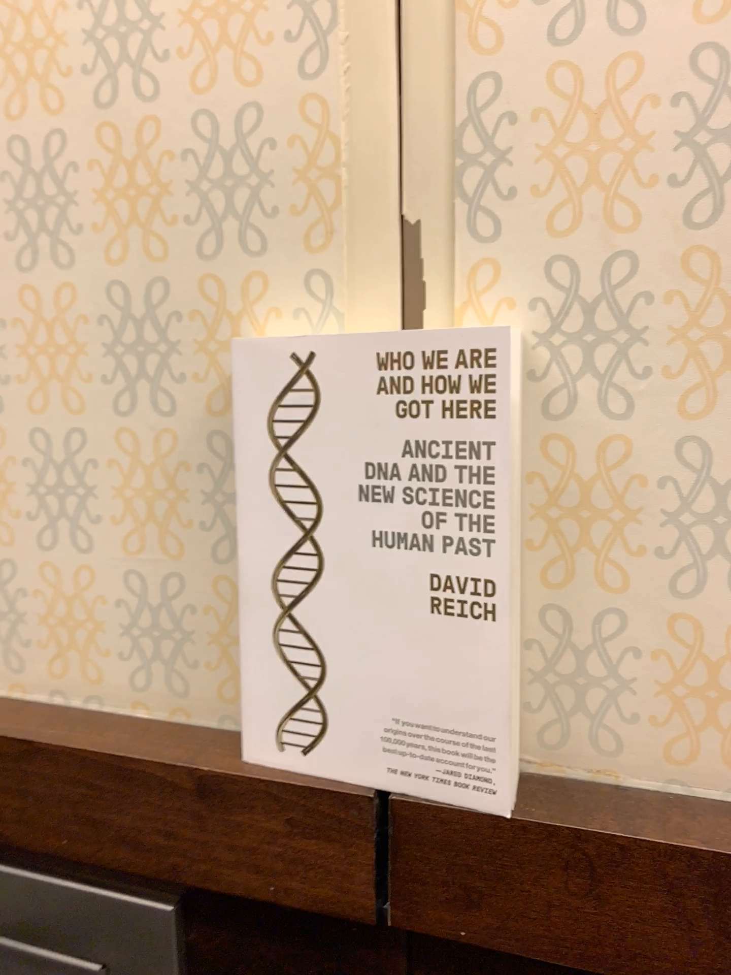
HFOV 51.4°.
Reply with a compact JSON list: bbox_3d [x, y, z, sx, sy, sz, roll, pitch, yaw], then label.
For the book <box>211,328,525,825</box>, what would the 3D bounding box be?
[{"bbox_3d":[0.002,0.034,0.335,0.127,0.199,0.041,2,7,16],"label":"book"}]
